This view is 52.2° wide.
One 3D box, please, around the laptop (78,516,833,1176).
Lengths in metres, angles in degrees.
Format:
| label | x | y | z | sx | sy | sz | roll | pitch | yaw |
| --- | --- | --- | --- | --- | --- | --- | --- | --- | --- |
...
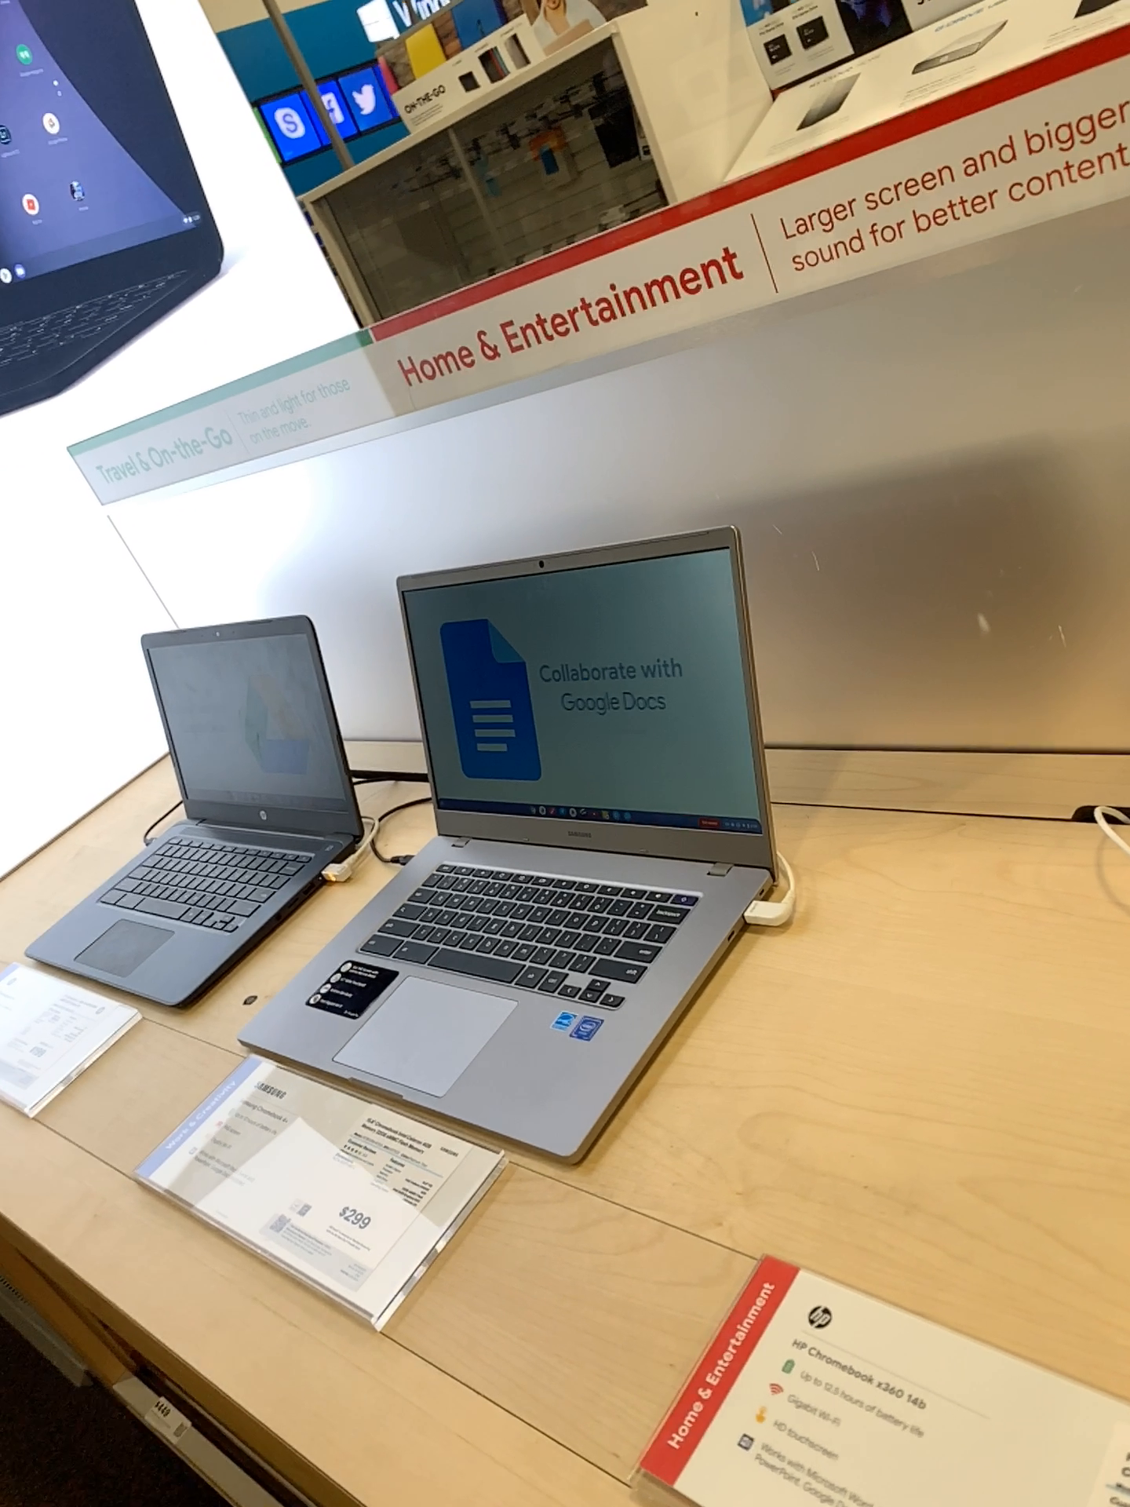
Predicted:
| label | x | y | z | sx | sy | sz | roll | pitch | yaw |
| --- | --- | --- | --- | --- | --- | --- | --- | --- | --- |
| laptop | -0.071 | 0.034 | 0.796 | 0.353 | 0.205 | 0.337 | 1 | 38 | 44 |

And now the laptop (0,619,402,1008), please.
| label | x | y | z | sx | sy | sz | roll | pitch | yaw |
| --- | --- | --- | --- | --- | --- | --- | --- | --- | --- |
| laptop | -0.392 | 0.039 | 1.106 | 0.322 | 0.193 | 0.294 | 1 | 36 | 43 |
